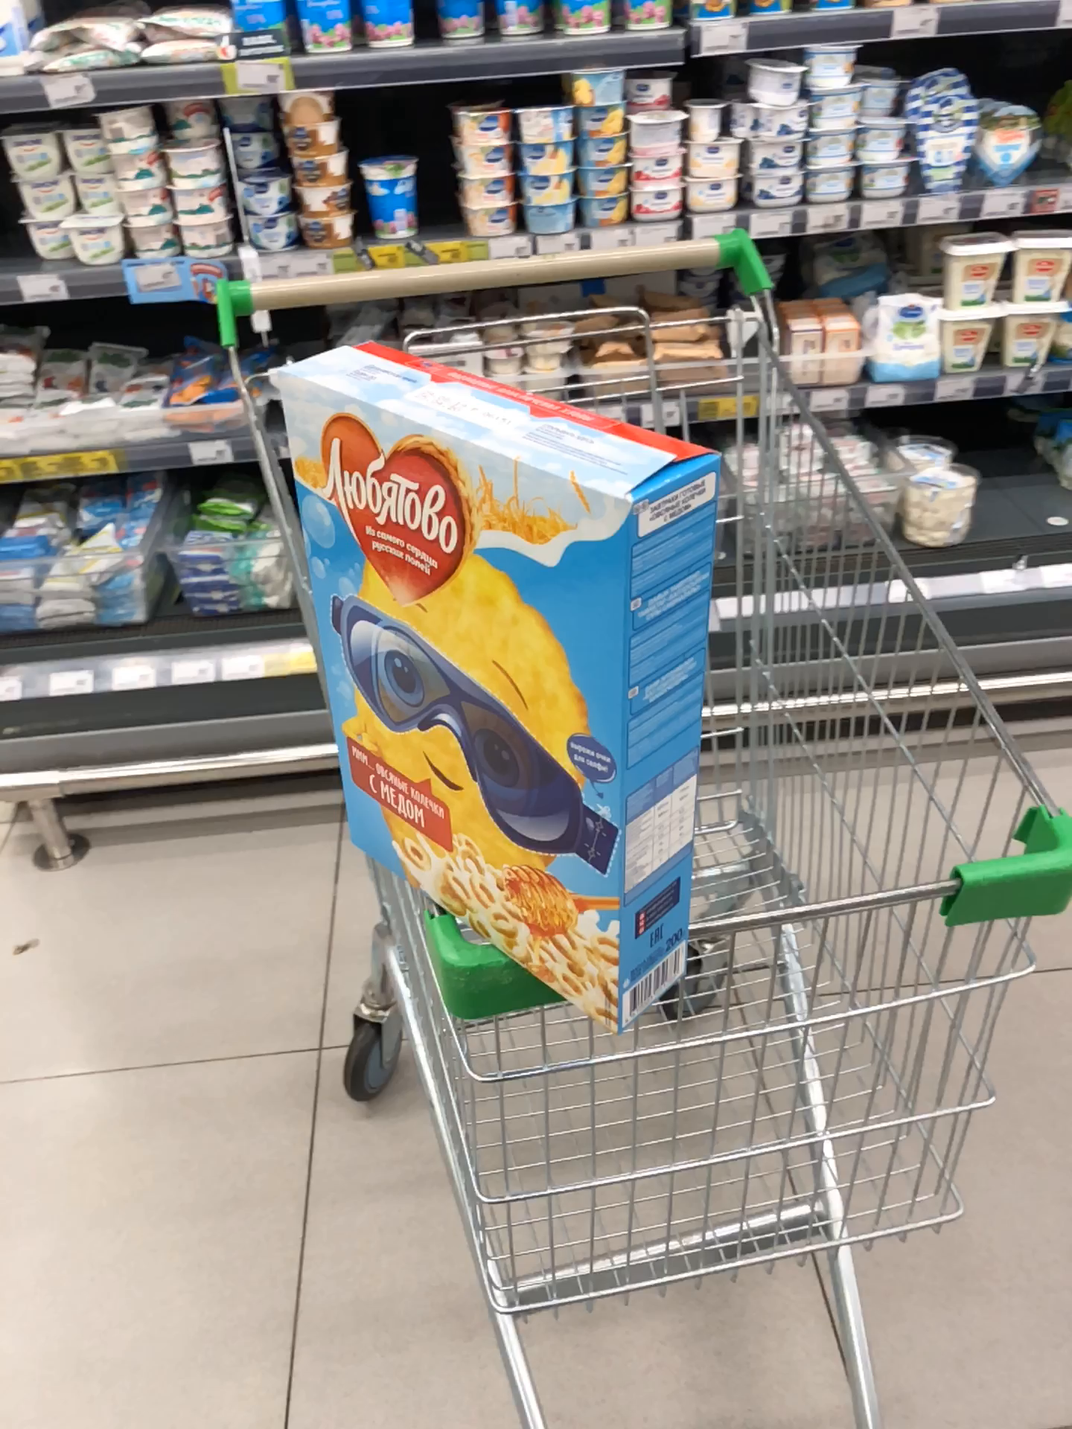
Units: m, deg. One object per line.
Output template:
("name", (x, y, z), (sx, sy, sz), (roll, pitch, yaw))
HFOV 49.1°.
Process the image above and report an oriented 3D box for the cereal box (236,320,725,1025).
("cereal box", (-0.025, -0.020, 0.508), (0.201, 0.248, 0.060), (27, 44, 36))
